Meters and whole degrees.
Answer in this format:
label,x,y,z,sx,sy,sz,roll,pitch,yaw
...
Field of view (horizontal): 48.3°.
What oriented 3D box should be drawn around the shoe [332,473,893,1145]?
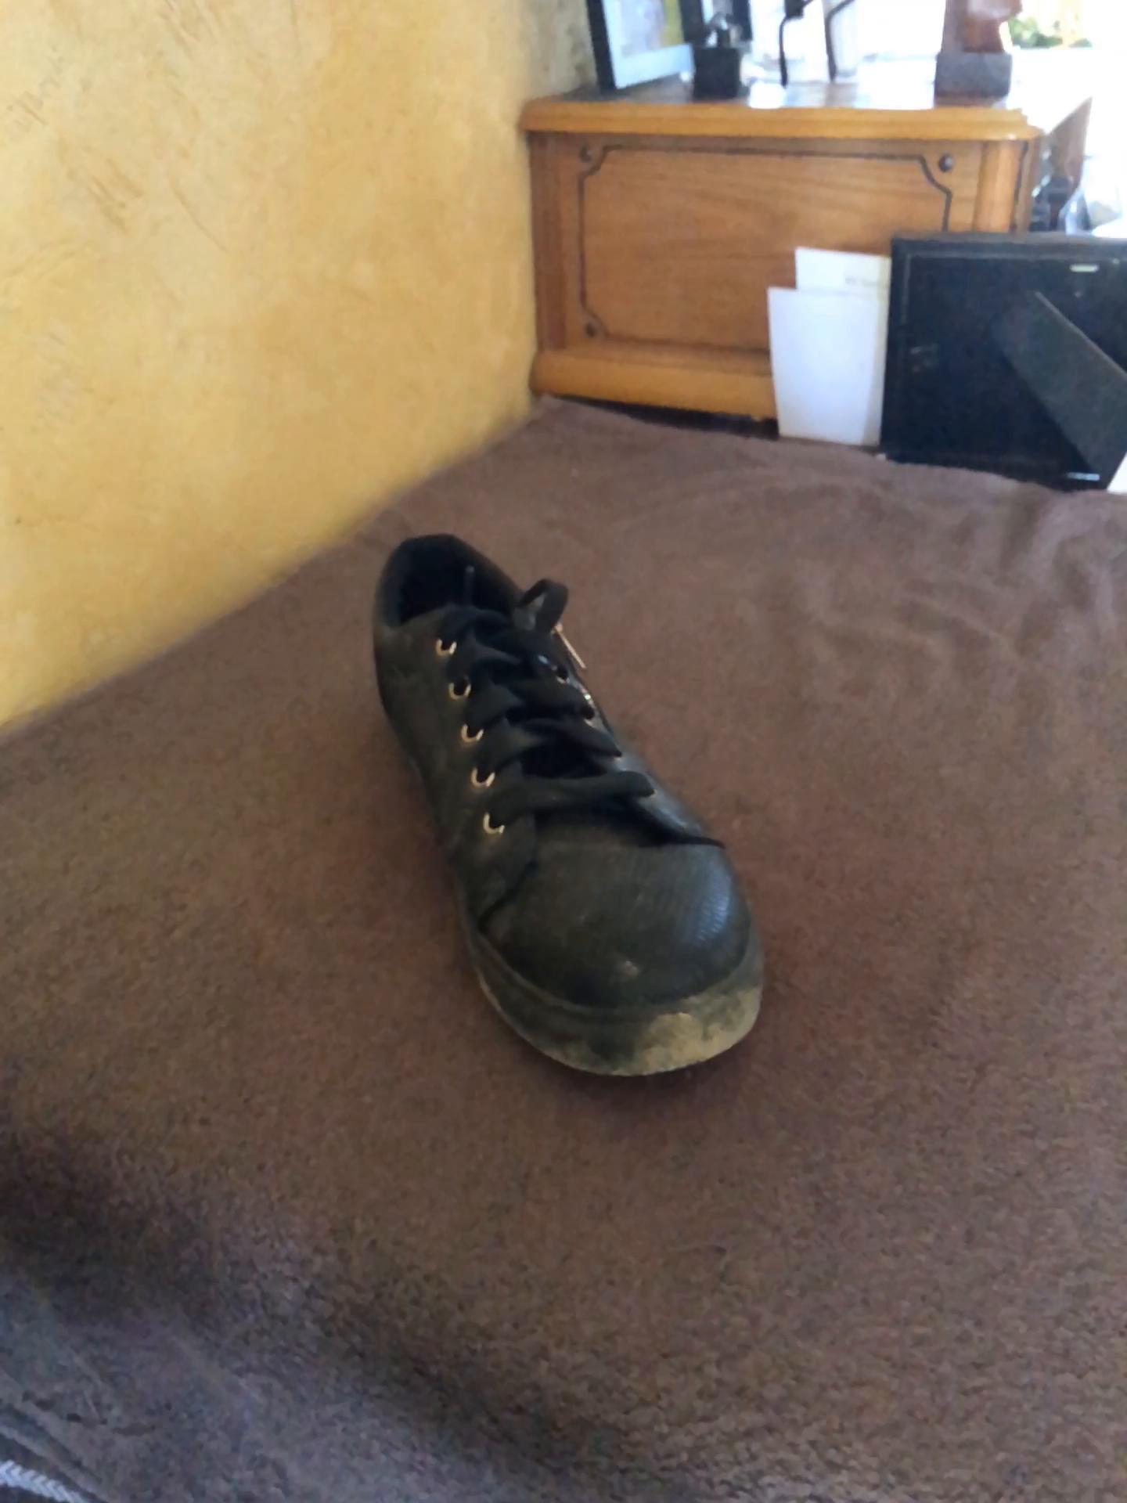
label,x,y,z,sx,sy,sz,roll,pitch,yaw
shoe,-0.003,-0.006,0.450,0.100,0.089,0.271,-12,34,-15
